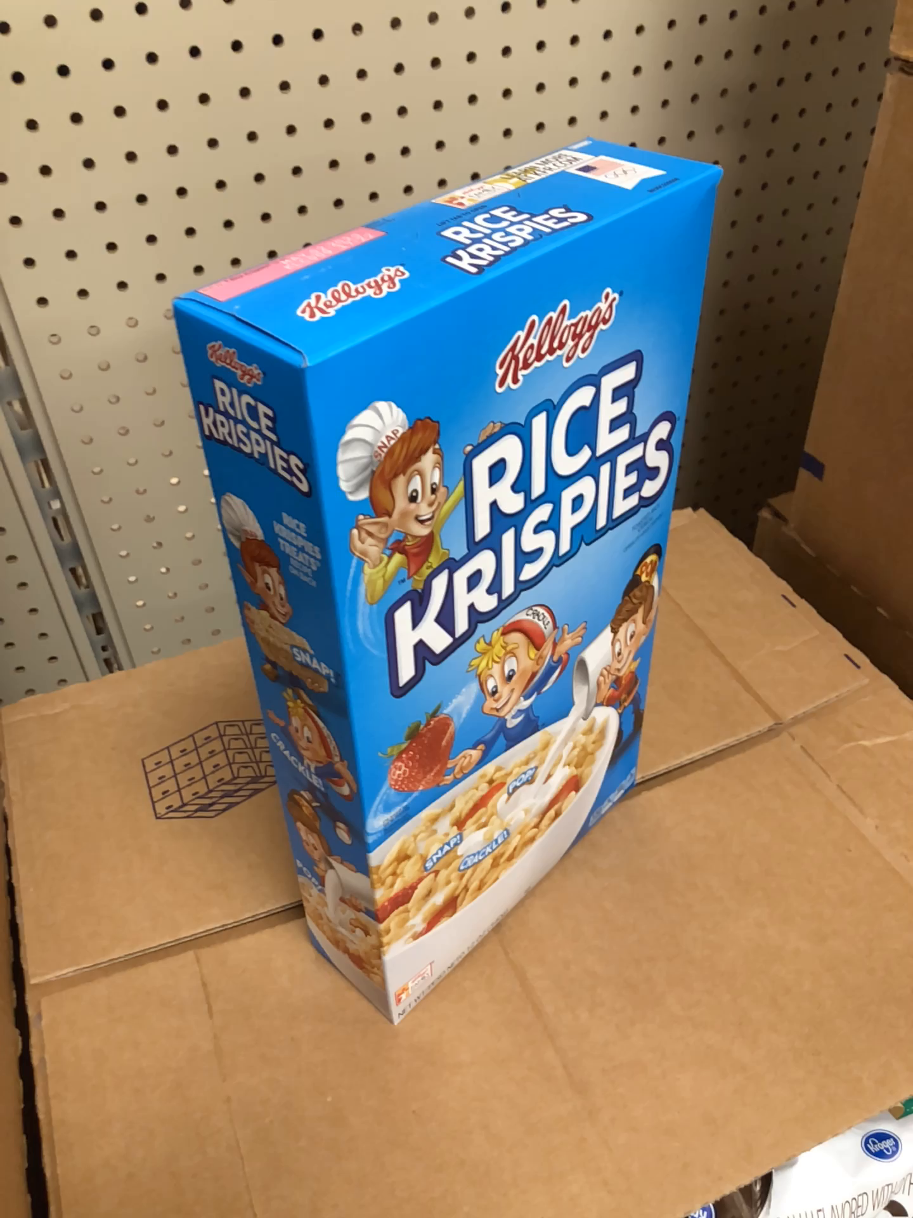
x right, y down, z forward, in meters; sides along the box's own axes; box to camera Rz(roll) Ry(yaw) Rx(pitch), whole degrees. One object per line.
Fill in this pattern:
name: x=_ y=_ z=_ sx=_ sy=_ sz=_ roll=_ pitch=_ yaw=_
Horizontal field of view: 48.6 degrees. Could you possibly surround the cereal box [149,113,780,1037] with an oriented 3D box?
cereal box: x=0.017 y=0.002 z=0.420 sx=0.070 sy=0.329 sz=0.210 roll=31 pitch=51 yaw=31
